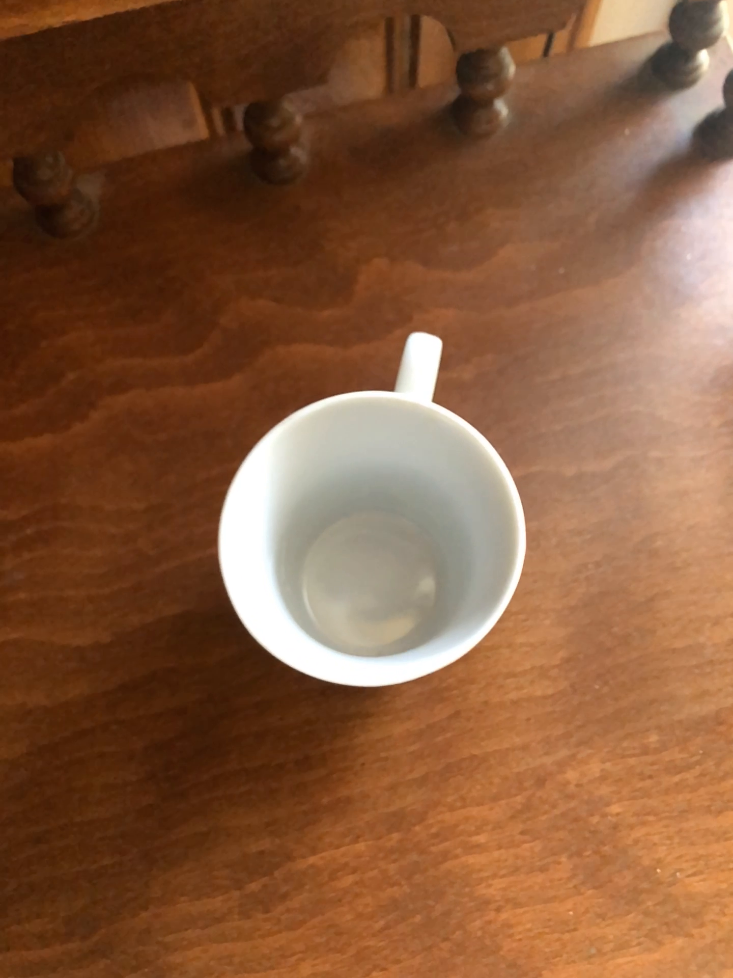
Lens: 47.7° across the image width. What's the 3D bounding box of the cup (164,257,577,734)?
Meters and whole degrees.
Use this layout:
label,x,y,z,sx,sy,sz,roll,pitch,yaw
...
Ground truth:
label,x,y,z,sx,sy,sz,roll,pitch,yaw
cup,0.003,0.006,0.182,0.060,0.060,0.080,12,75,4
